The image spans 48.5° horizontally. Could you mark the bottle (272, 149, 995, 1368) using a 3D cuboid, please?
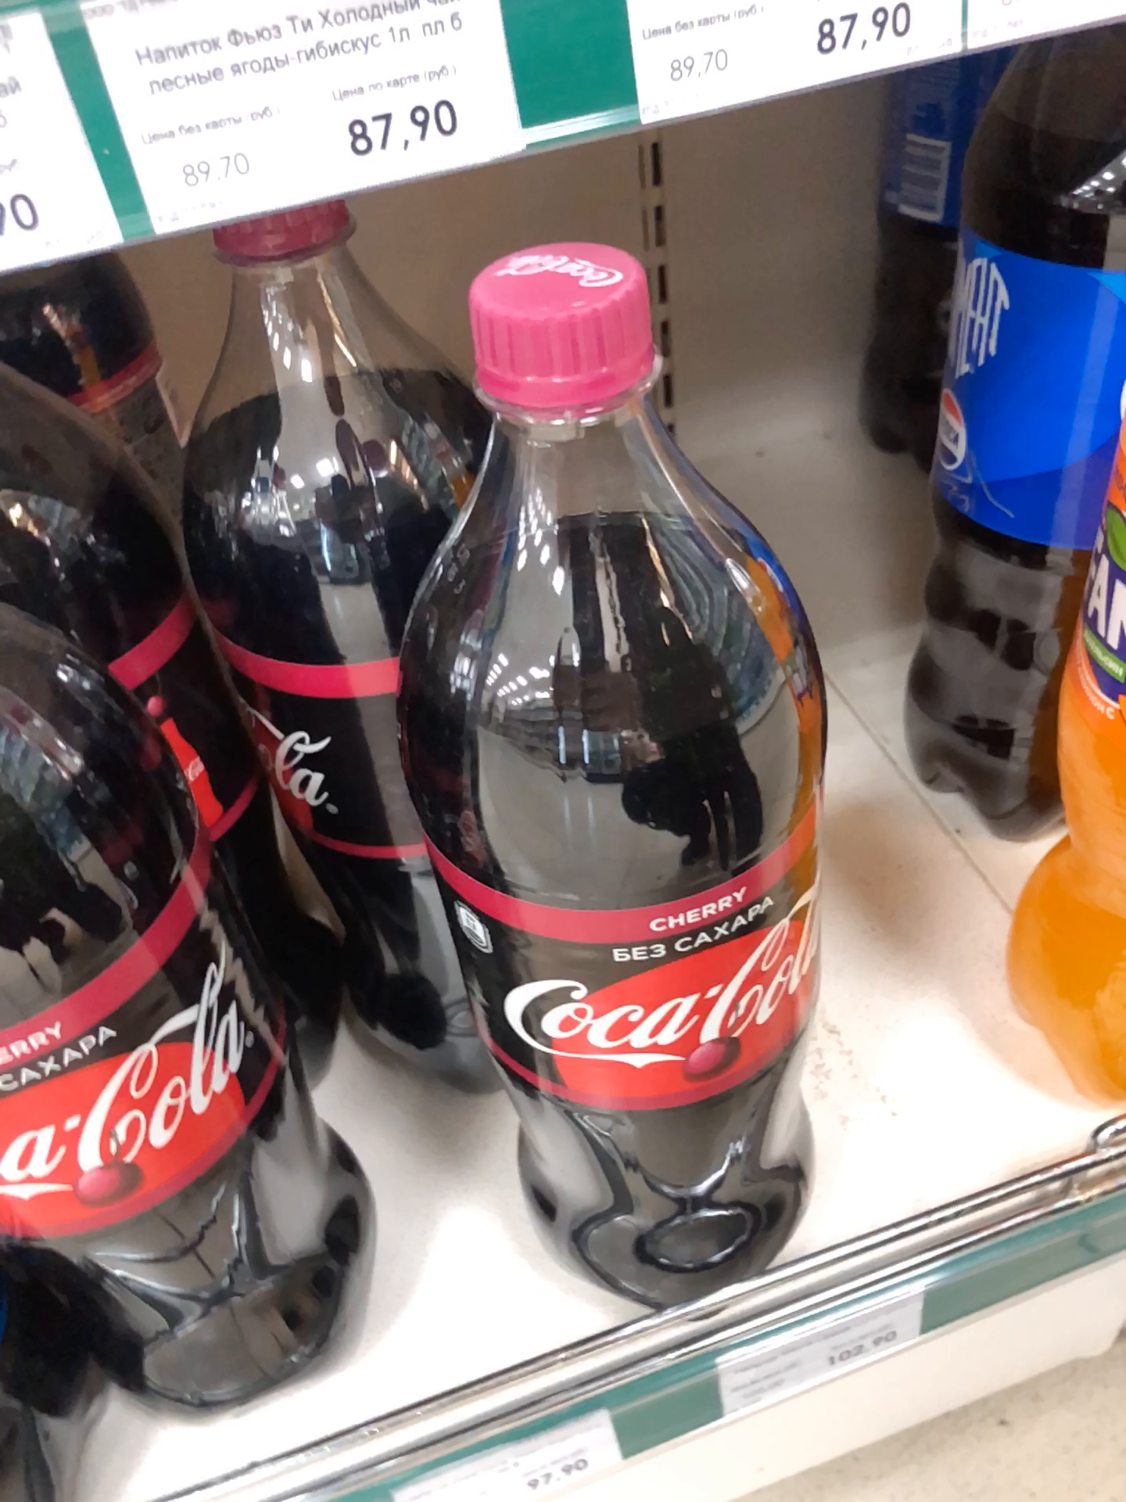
[{"bbox_3d":[0.020,0.031,0.304,0.092,0.295,0.088,-4,43,4],"label":"bottle"}]
